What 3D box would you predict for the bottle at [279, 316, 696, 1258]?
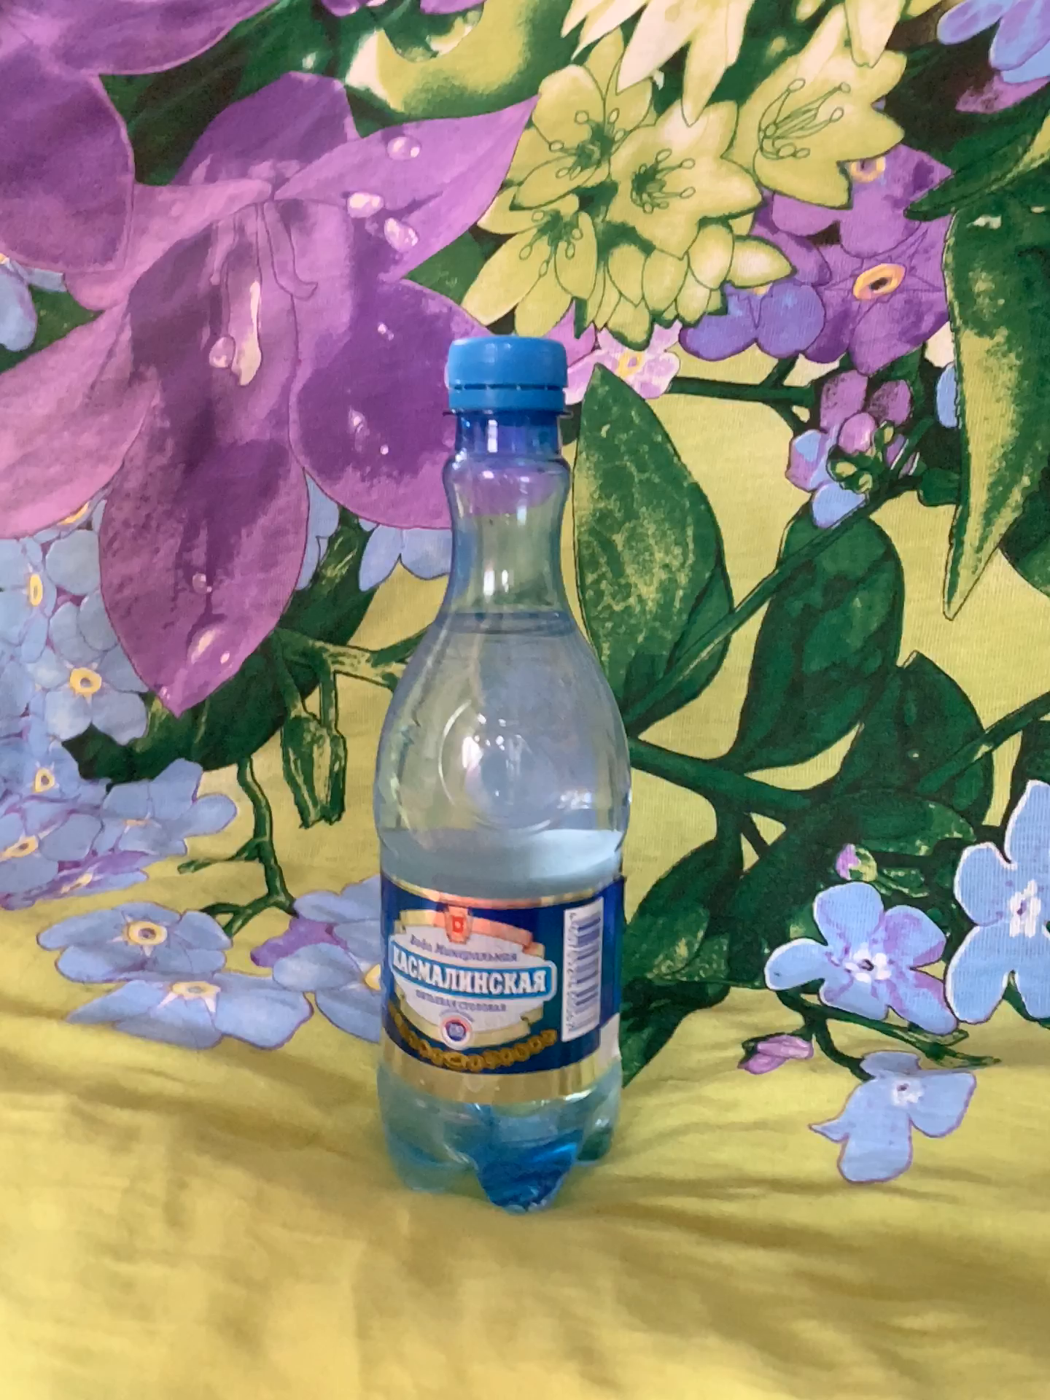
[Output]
[{"bbox_3d":[-0.004,0.019,0.286,0.080,0.219,0.070,4,14,20],"label":"bottle"}]
